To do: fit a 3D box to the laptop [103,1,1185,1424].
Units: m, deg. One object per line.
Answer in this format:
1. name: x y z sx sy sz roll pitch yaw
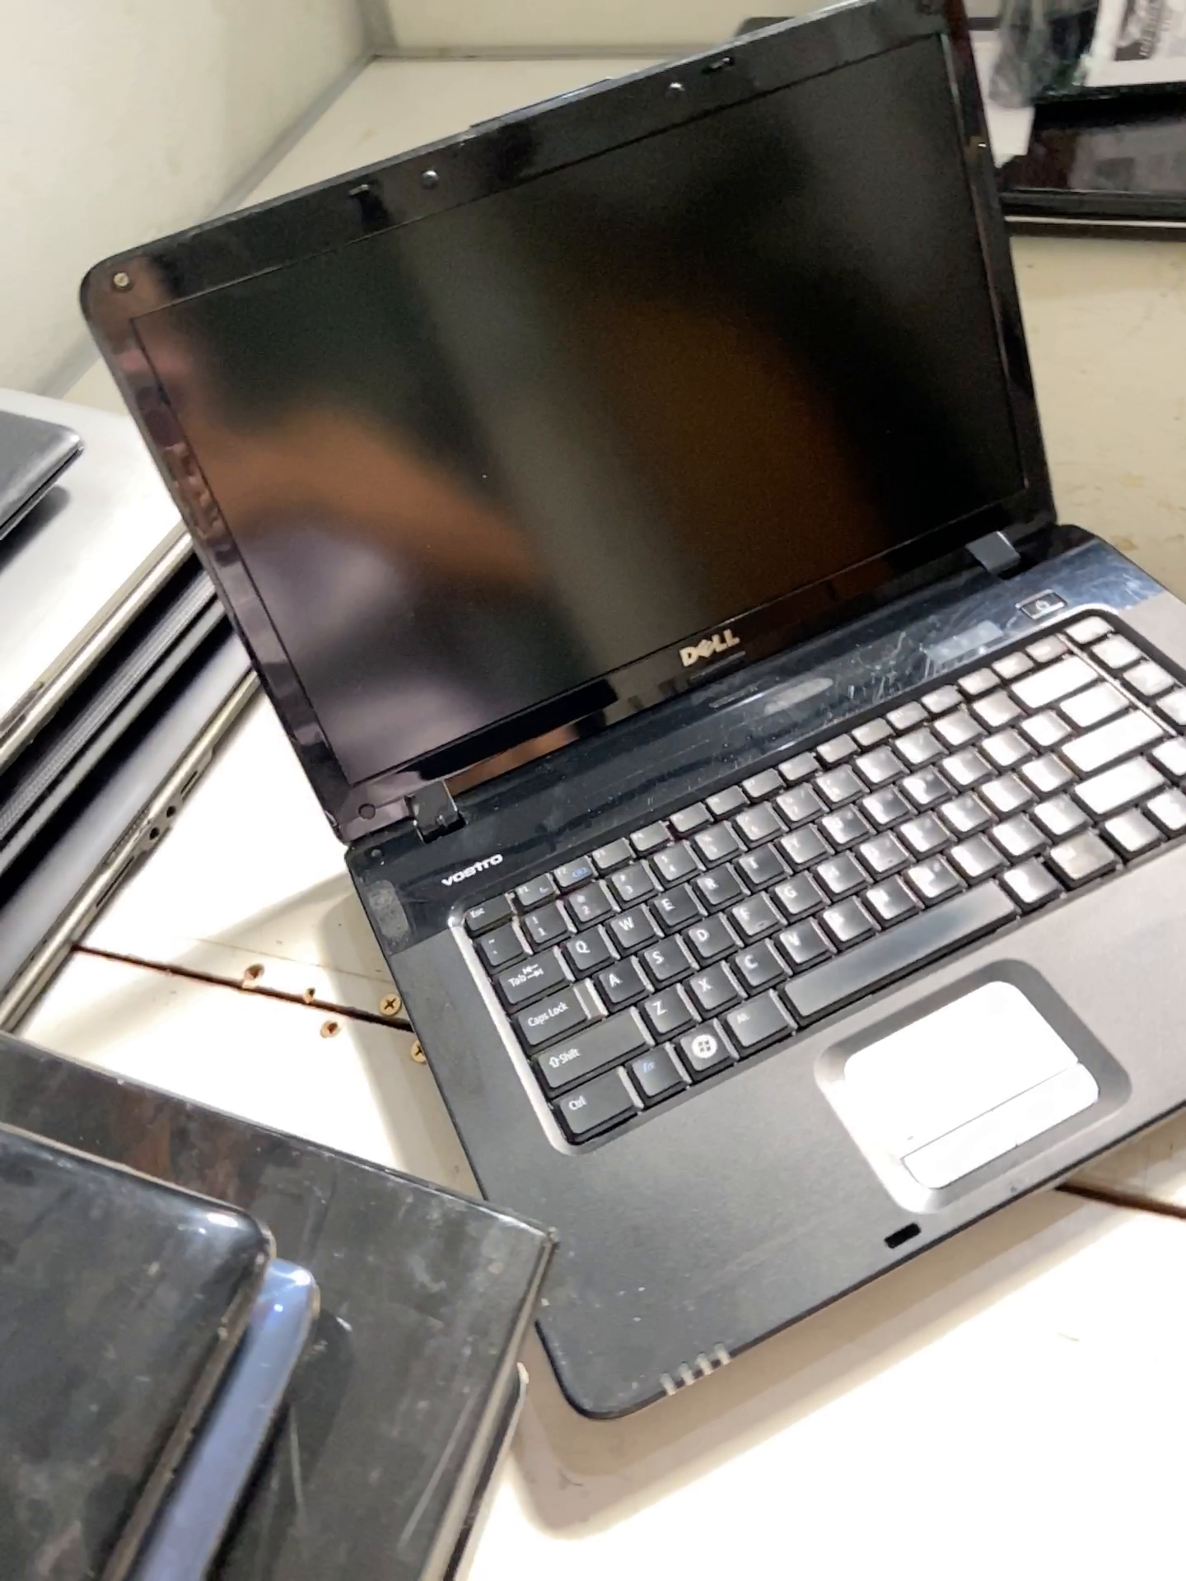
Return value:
1. laptop: 0.075 -0.068 0.428 0.365 0.203 0.354 -25 49 -10
